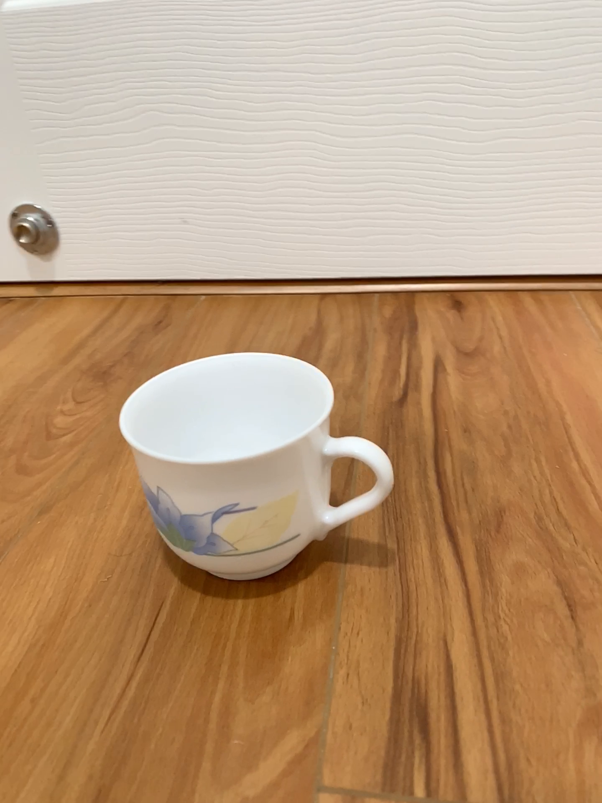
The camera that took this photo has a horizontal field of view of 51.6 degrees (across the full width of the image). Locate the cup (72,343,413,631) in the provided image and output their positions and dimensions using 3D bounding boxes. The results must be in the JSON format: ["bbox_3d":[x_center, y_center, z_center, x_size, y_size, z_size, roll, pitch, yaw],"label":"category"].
[{"bbox_3d":[-0.013,0.026,0.244,0.103,0.063,0.084,4,31,15],"label":"cup"}]
